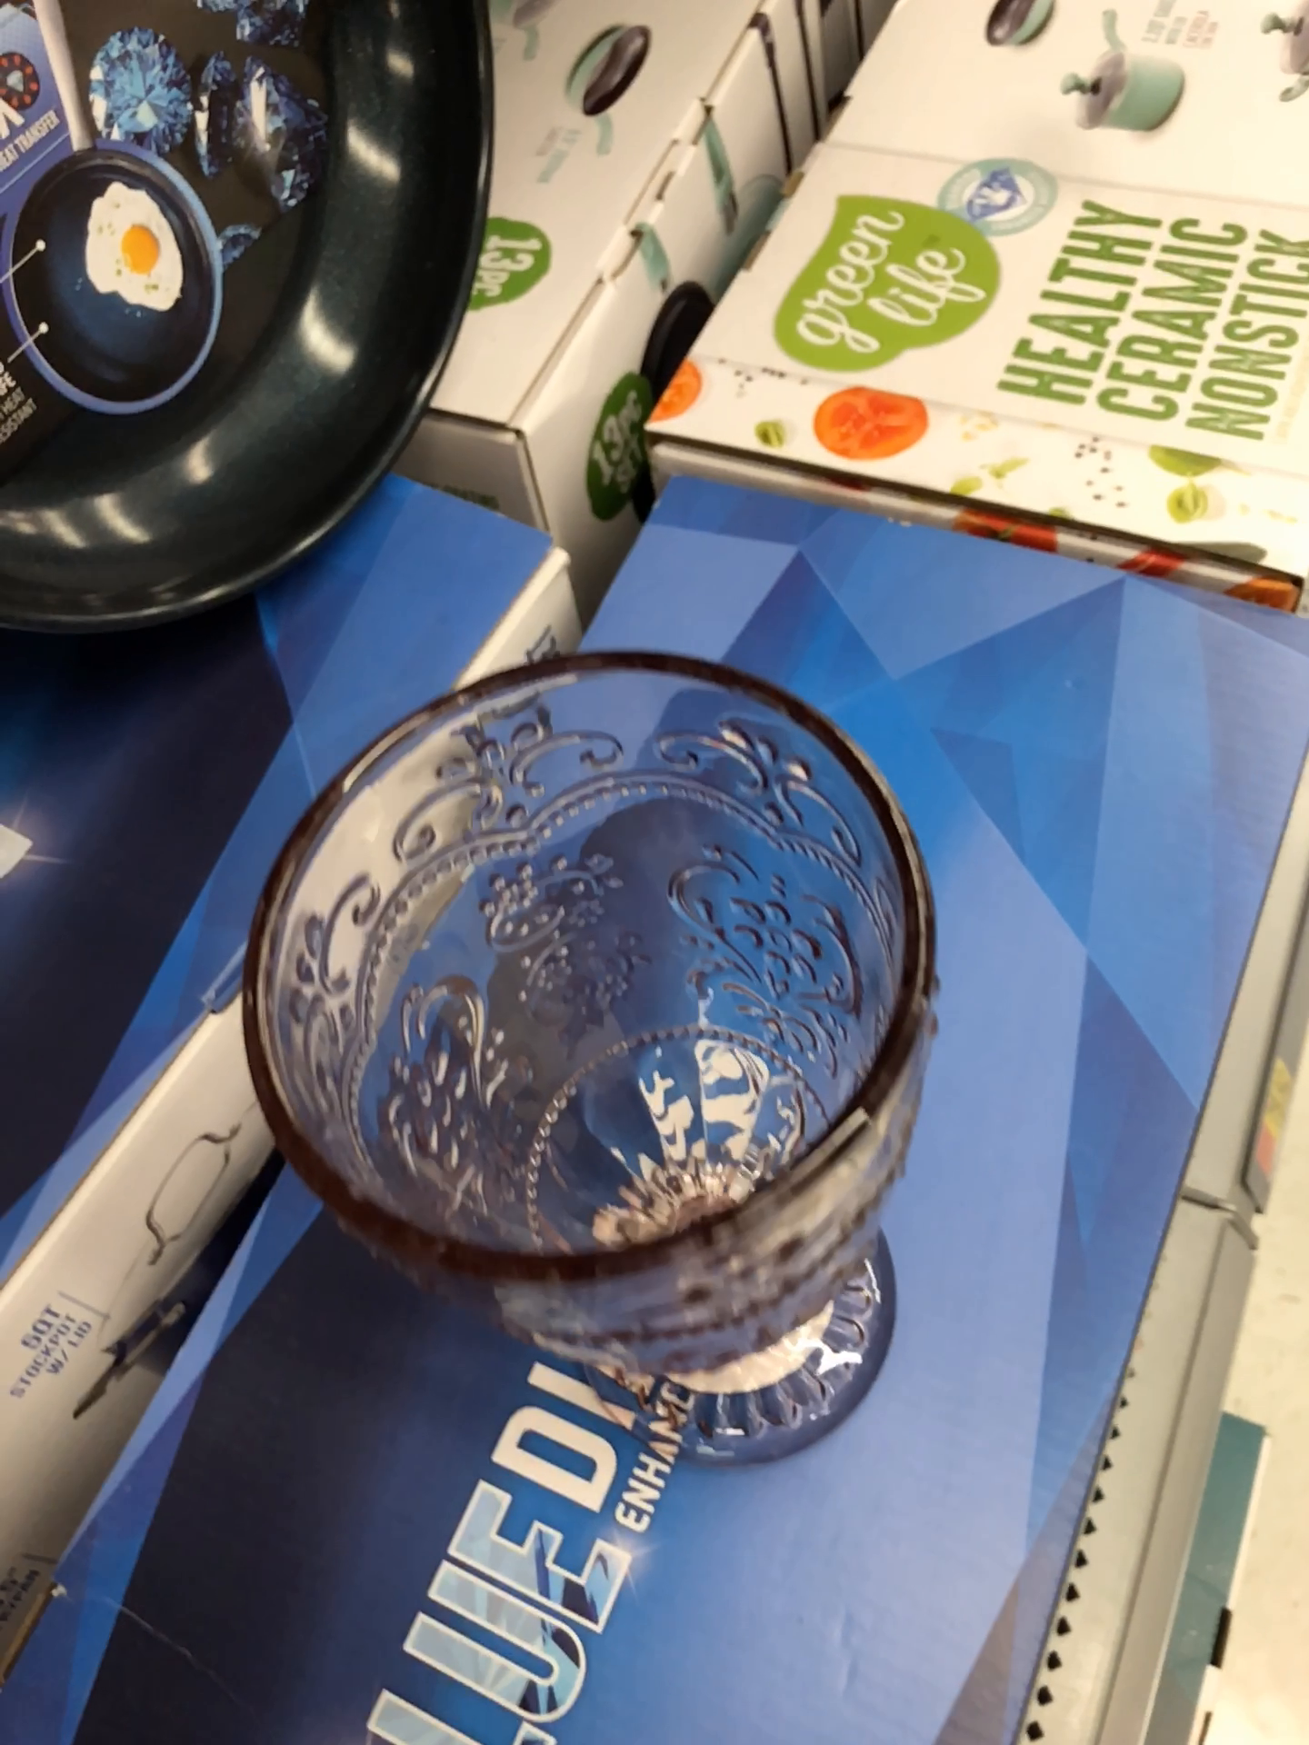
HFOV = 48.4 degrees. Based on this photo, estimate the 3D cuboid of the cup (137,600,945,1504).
[{"bbox_3d":[0.004,0.045,0.244,0.086,0.168,0.089,-5,60,8],"label":"cup"}]
